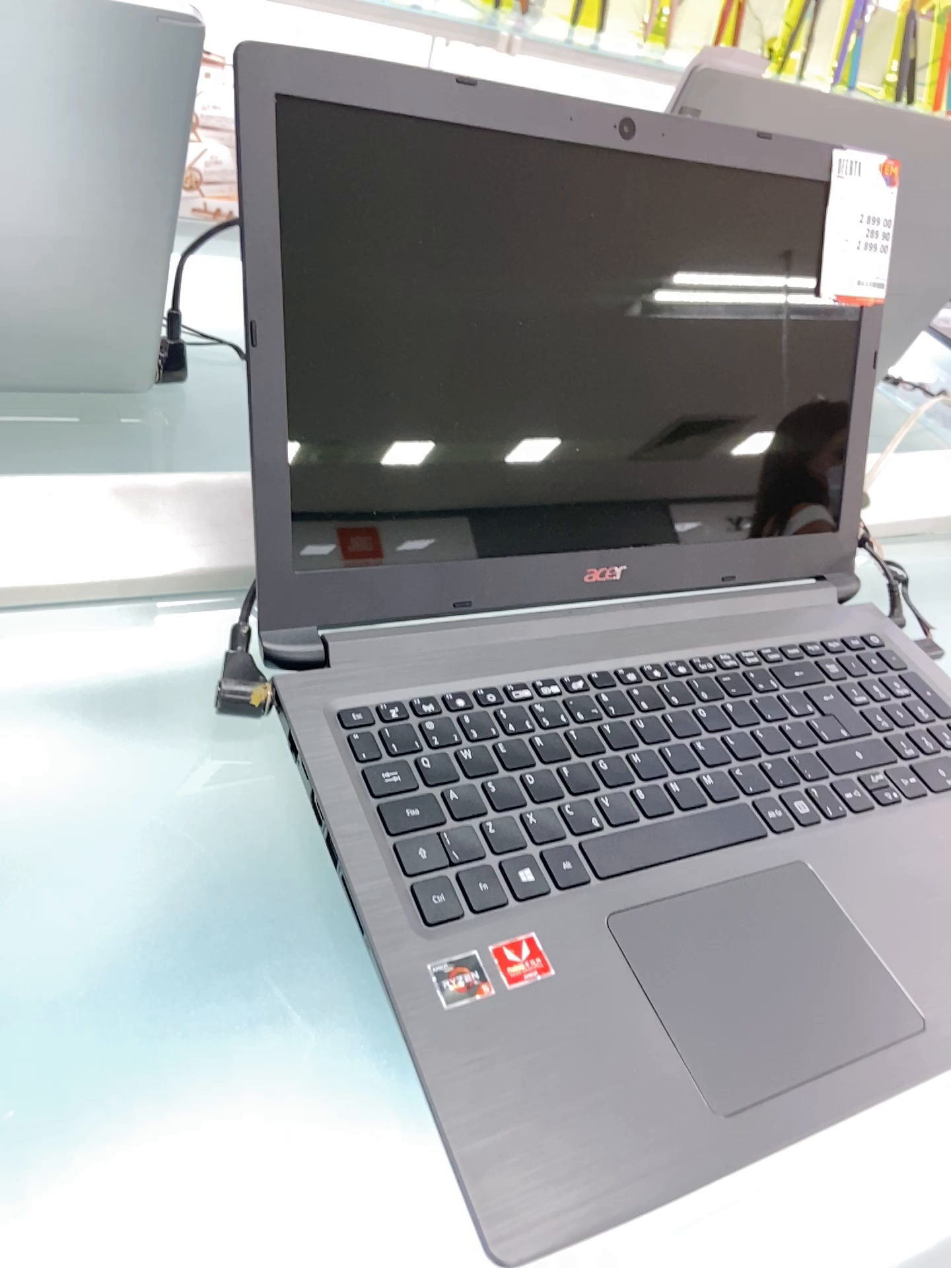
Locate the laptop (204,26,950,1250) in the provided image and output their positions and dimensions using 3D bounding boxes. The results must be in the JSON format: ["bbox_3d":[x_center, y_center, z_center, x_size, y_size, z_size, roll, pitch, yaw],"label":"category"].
[{"bbox_3d":[0.112,-0.049,0.382,0.341,0.194,0.354,-6,44,-27],"label":"laptop"}]
